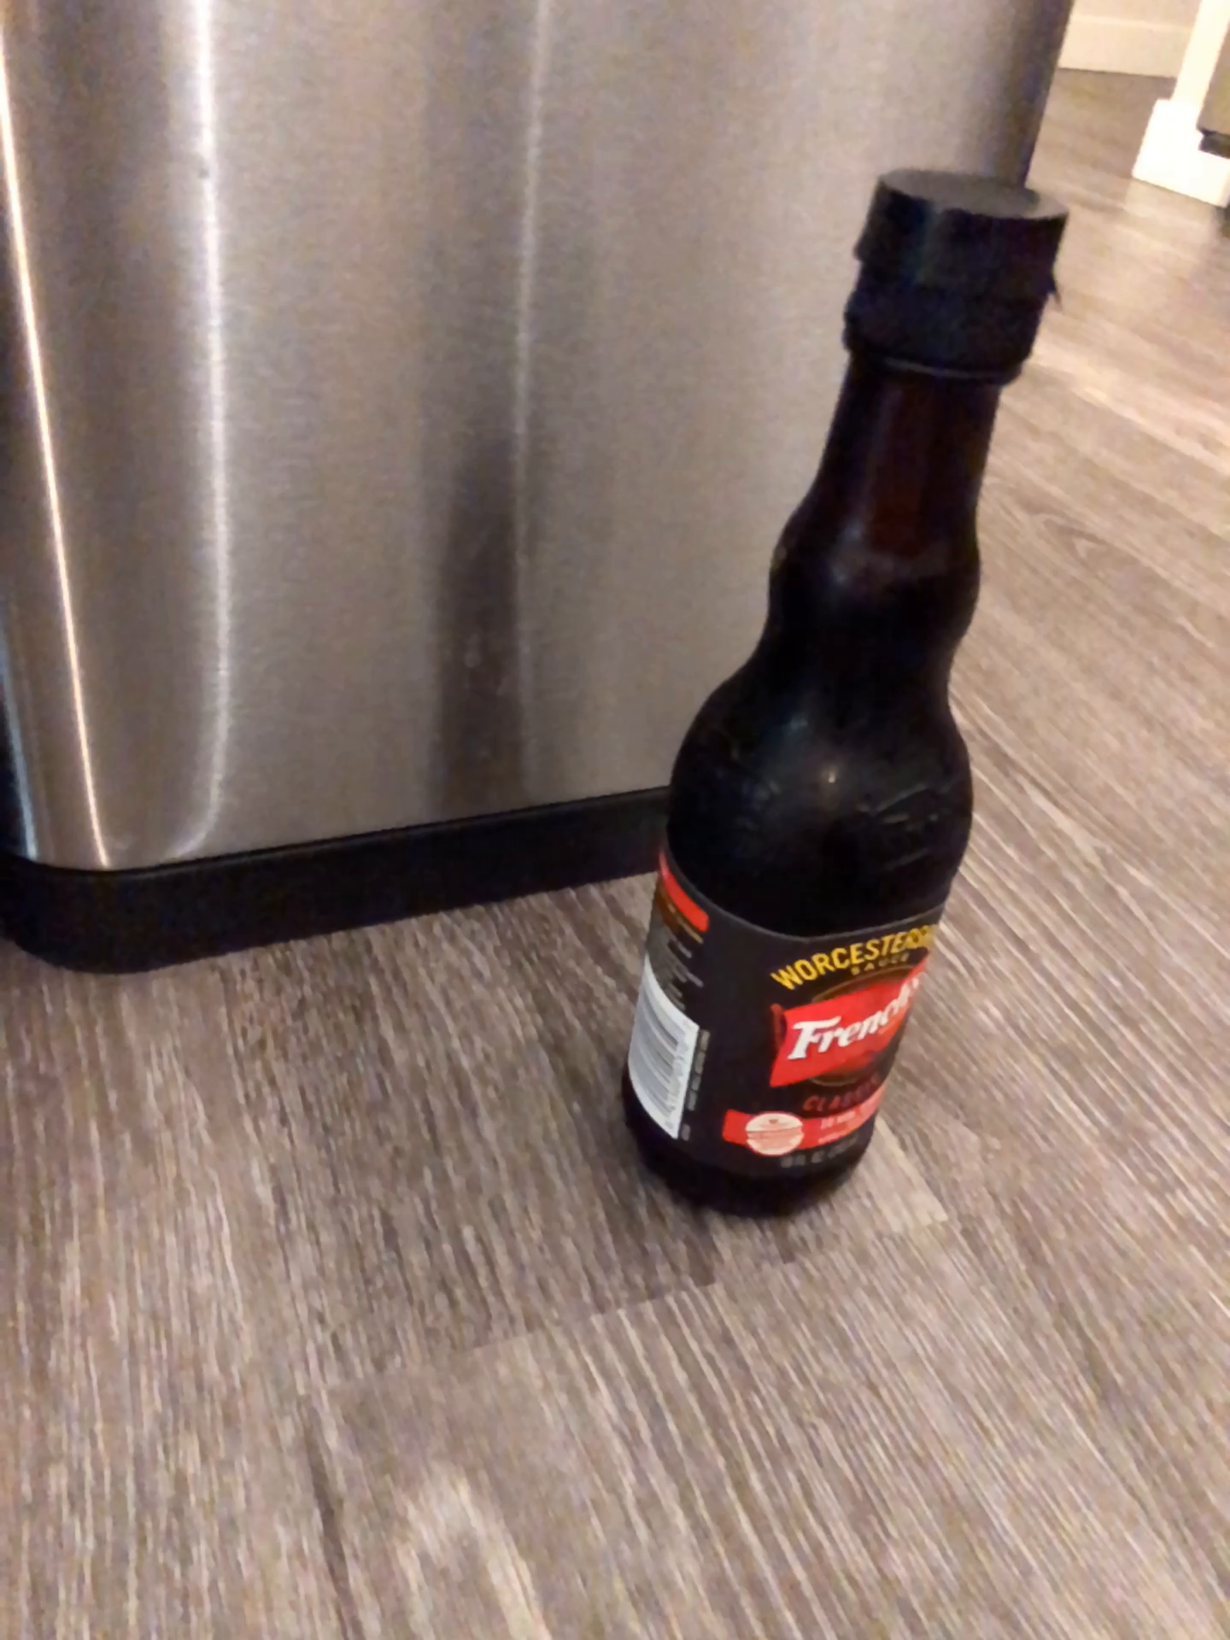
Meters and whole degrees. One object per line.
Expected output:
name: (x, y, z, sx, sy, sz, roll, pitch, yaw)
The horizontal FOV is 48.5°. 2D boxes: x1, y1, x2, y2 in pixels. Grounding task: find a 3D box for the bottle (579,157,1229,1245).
bottle: (0.043, -0.013, 0.265, 0.060, 0.199, 0.060, 6, 35, -4)
